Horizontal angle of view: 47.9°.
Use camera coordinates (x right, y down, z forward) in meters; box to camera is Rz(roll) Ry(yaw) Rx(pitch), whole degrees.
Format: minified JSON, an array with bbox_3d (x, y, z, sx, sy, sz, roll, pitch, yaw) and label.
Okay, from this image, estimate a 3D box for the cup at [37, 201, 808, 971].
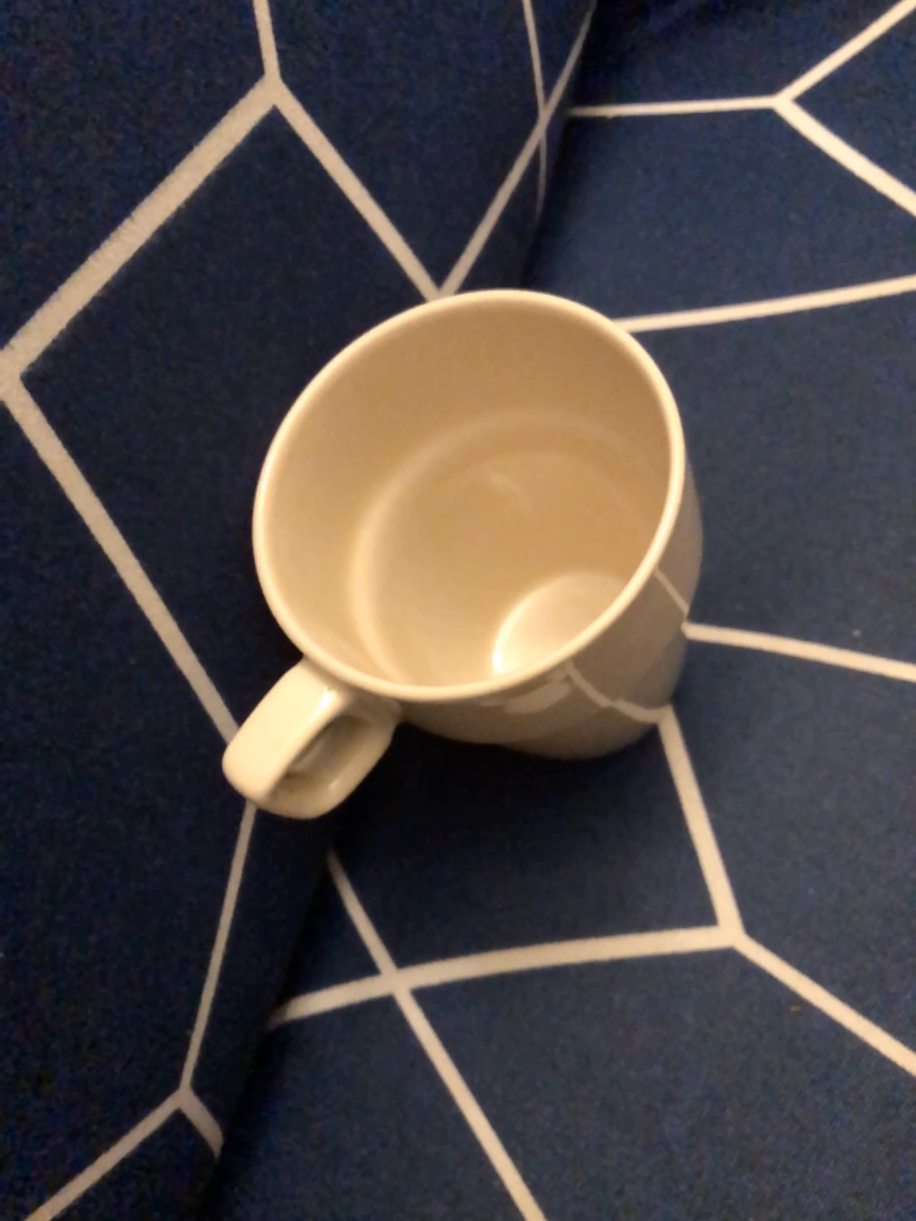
[{"bbox_3d":[0.003,0.003,0.225,0.090,0.110,0.104,37,86,30],"label":"cup"}]
